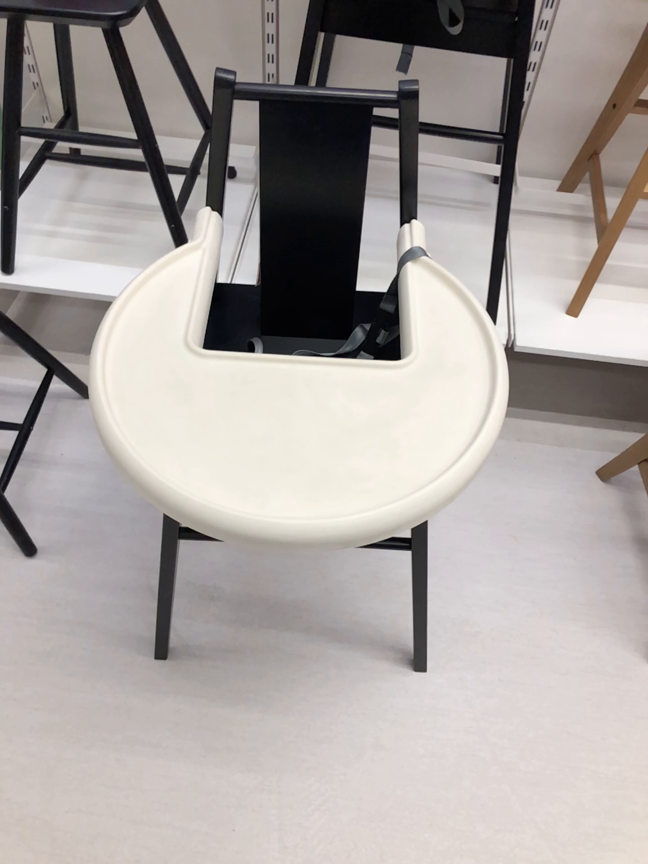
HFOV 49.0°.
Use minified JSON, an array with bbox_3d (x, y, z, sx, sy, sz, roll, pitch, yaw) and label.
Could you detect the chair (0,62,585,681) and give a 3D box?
[{"bbox_3d":[-0.044,-0.032,1.110,0.550,0.776,0.553,4,53,0],"label":"chair"}]
